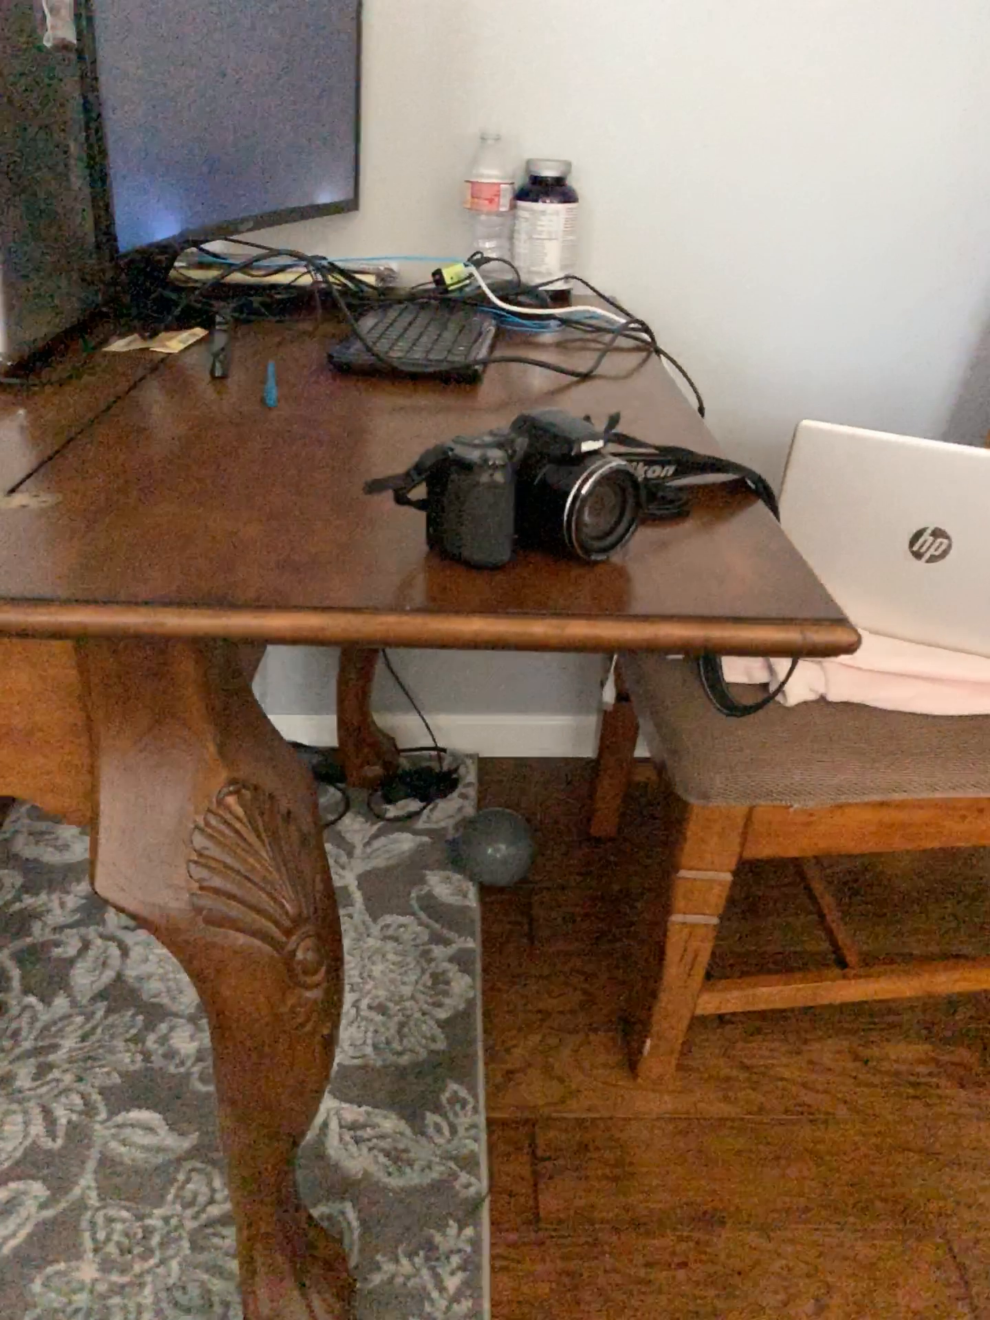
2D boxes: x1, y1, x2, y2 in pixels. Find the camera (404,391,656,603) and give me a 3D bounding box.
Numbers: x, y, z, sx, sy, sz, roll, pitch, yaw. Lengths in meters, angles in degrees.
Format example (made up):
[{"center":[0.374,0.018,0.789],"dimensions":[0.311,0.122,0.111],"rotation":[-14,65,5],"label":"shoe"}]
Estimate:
[{"center":[0.019,-0.099,0.589],"dimensions":[0.110,0.079,0.090],"rotation":[-20,35,-34],"label":"camera"}]
